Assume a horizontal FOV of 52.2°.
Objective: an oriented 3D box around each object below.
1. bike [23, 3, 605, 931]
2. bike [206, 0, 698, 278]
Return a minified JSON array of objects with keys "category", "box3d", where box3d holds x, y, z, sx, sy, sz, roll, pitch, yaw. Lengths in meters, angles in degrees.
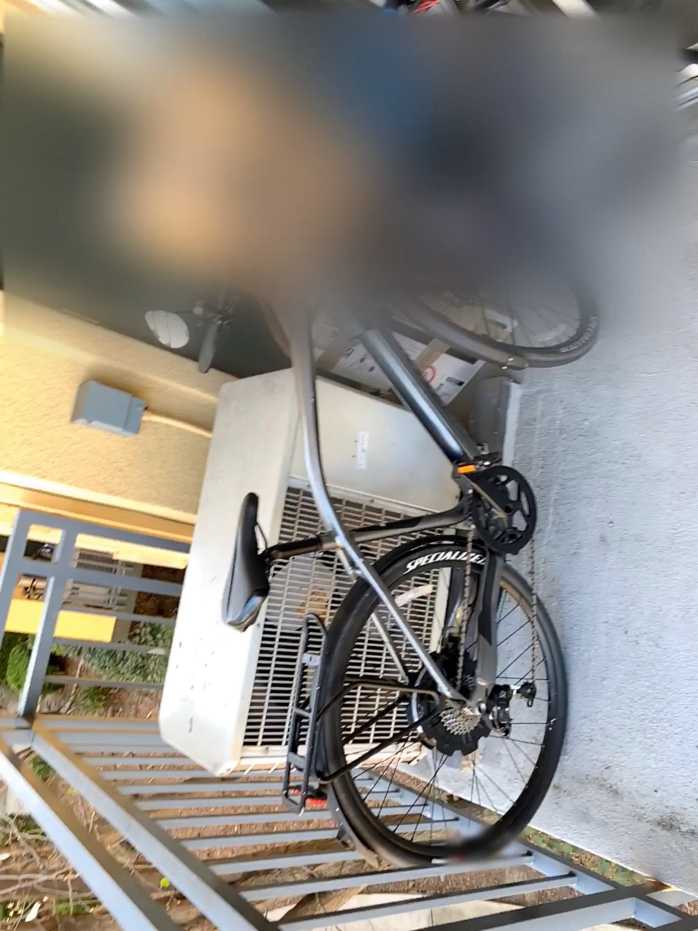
[{"category":"bike","box3d":[0.020,0.001,1.658,0.626,0.970,1.582,-16,62,48]},{"category":"bike","box3d":[0.605,-0.770,1.233,1.513,0.930,0.362,6,81,49]}]
